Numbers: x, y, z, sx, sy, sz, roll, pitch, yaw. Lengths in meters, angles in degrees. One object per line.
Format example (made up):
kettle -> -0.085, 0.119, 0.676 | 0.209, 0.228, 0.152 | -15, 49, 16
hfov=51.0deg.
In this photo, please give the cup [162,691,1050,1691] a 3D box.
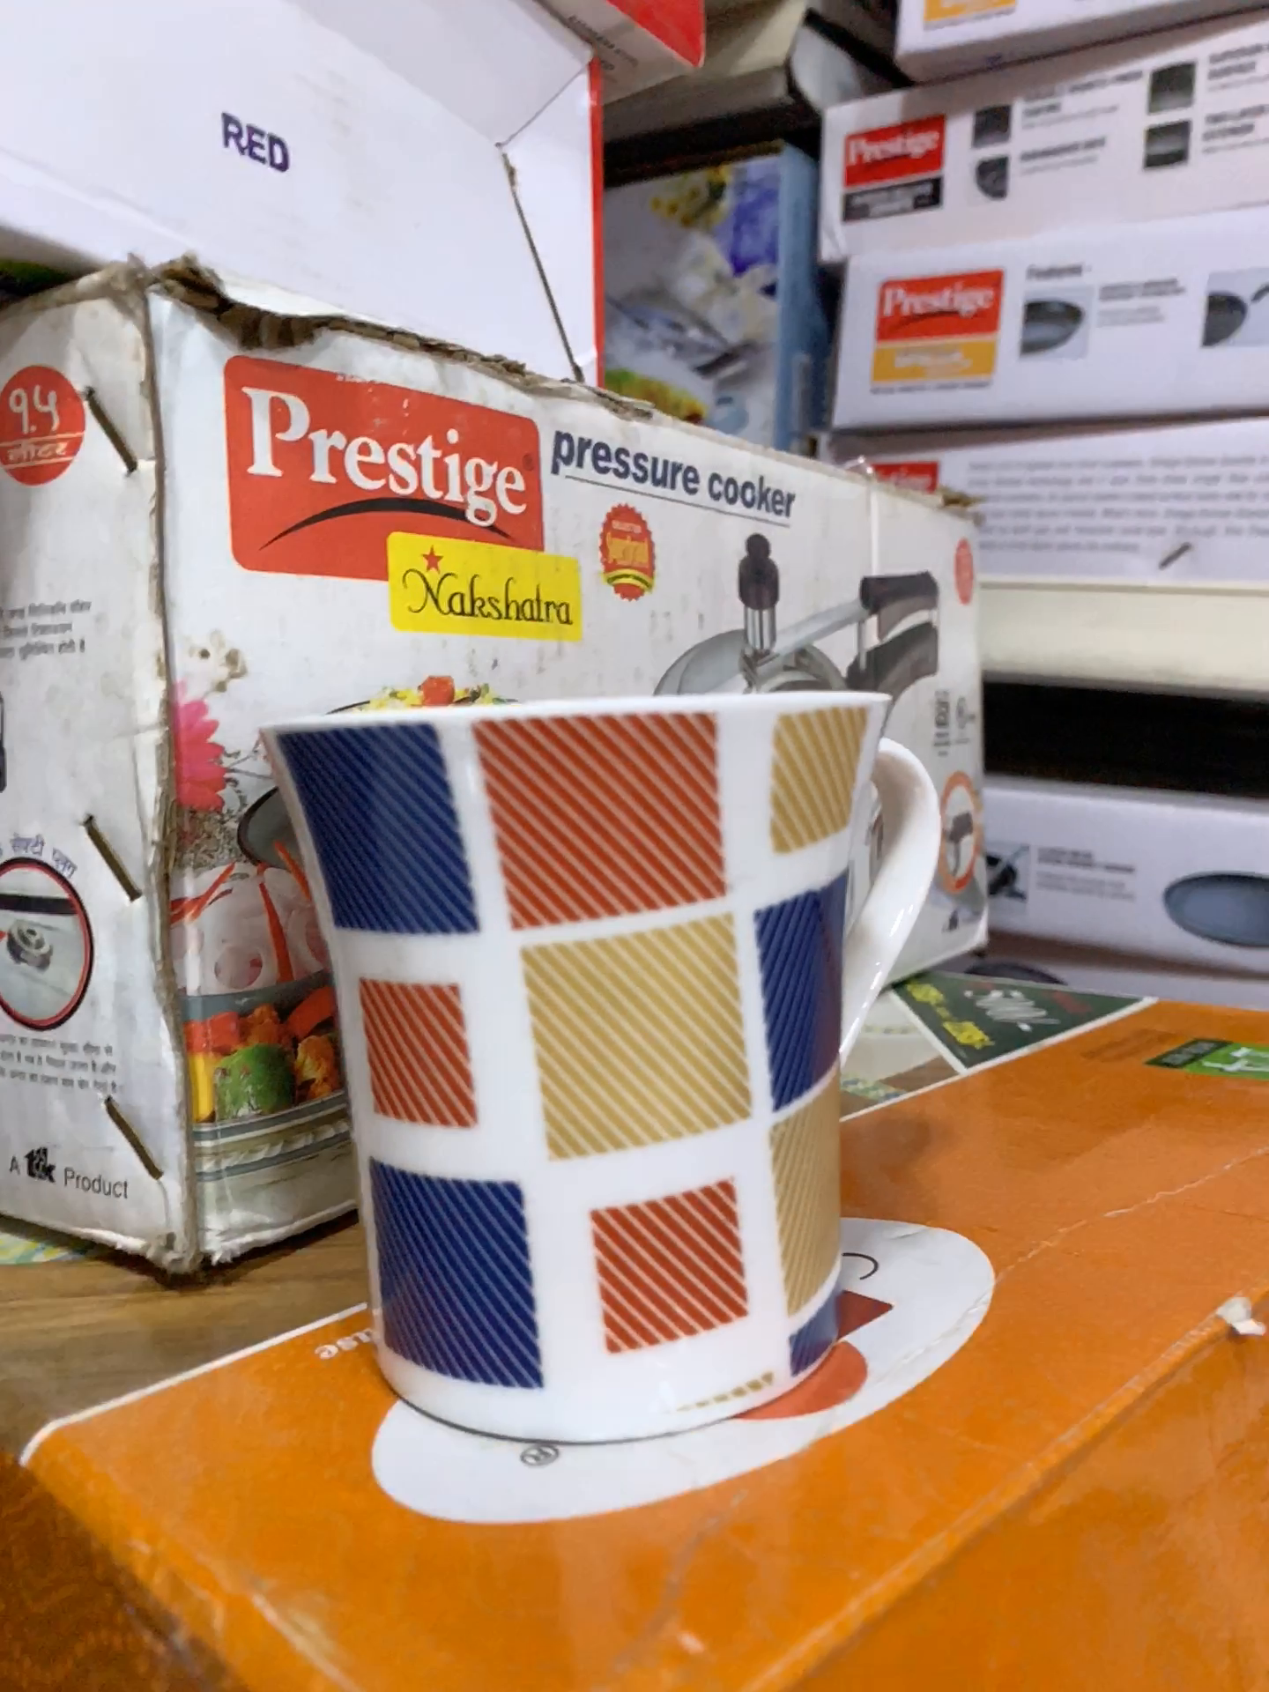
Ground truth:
cup -> 0.004, 0.026, 0.177 | 0.070, 0.090, 0.100 | 1, 6, 35
